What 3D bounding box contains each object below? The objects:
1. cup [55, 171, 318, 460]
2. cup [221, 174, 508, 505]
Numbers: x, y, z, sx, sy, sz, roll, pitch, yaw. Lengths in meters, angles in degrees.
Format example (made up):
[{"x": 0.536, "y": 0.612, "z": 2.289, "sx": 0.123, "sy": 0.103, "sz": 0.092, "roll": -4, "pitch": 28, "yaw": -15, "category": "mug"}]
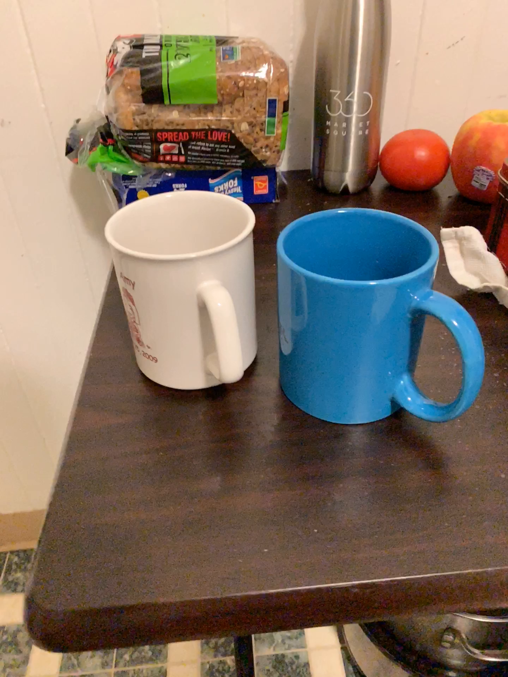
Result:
[{"x": -0.041, "y": -0.022, "z": 0.315, "sx": 0.090, "sy": 0.099, "sz": 0.131, "roll": -25, "pitch": 43, "yaw": -26, "category": "cup"}, {"x": 0.062, "y": -0.010, "z": 0.287, "sx": 0.090, "sy": 0.099, "sz": 0.141, "roll": -26, "pitch": 44, "yaw": -27, "category": "cup"}]
